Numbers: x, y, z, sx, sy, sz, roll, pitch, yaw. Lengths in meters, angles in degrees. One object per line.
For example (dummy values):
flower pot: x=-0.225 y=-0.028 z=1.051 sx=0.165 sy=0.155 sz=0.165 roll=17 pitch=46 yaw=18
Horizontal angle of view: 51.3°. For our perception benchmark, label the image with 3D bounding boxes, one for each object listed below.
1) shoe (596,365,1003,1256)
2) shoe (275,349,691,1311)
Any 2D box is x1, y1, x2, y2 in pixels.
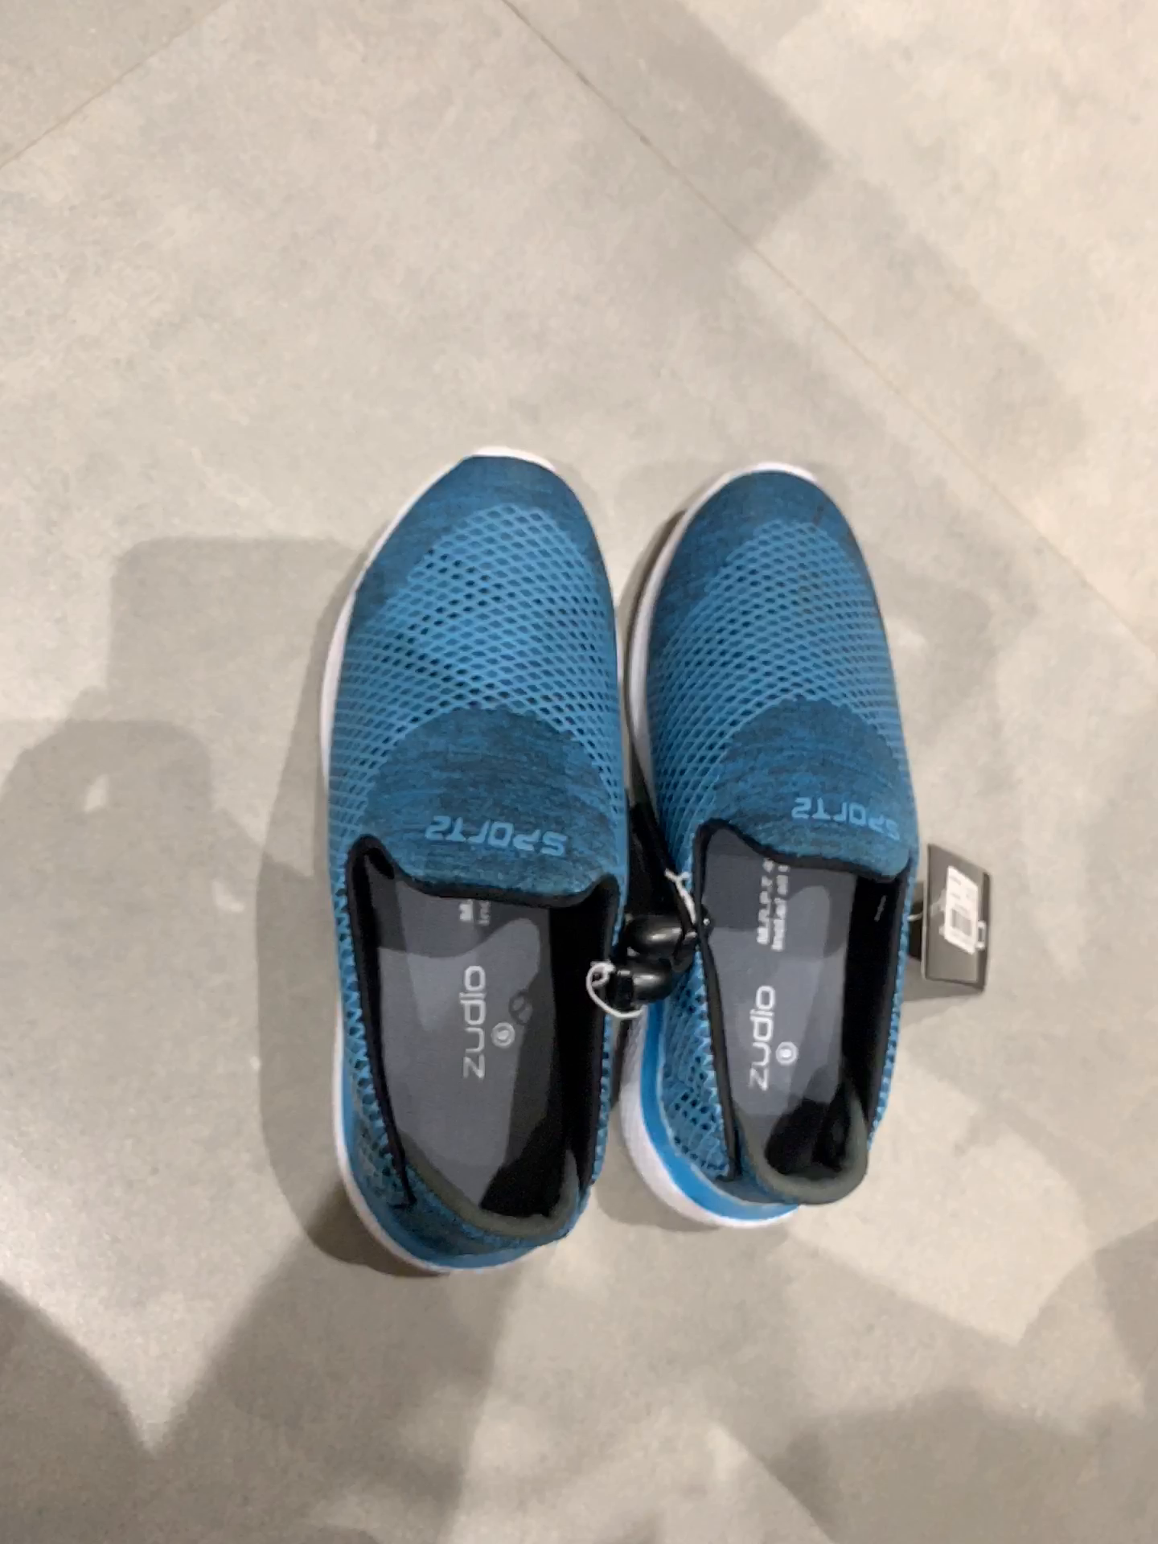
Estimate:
shoe: x=0.069 y=0.013 z=0.386 sx=0.090 sy=0.080 sz=0.250 roll=7 pitch=80 yaw=-13
shoe: x=-0.031 y=0.016 z=0.376 sx=0.110 sy=0.080 sz=0.260 roll=3 pitch=81 yaw=-14
